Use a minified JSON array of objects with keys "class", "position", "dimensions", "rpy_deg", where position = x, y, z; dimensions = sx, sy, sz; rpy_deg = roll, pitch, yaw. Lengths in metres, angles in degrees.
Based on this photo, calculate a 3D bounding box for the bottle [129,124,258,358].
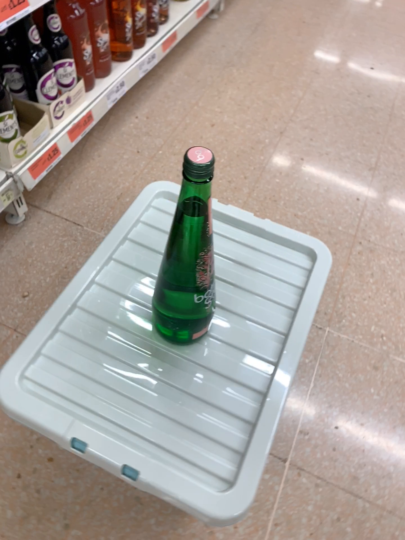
[{"class":"bottle","position":[-0.018,-0.010,0.484],"dimensions":[0.085,0.287,0.091],"rpy_deg":[3,55,-4]}]
